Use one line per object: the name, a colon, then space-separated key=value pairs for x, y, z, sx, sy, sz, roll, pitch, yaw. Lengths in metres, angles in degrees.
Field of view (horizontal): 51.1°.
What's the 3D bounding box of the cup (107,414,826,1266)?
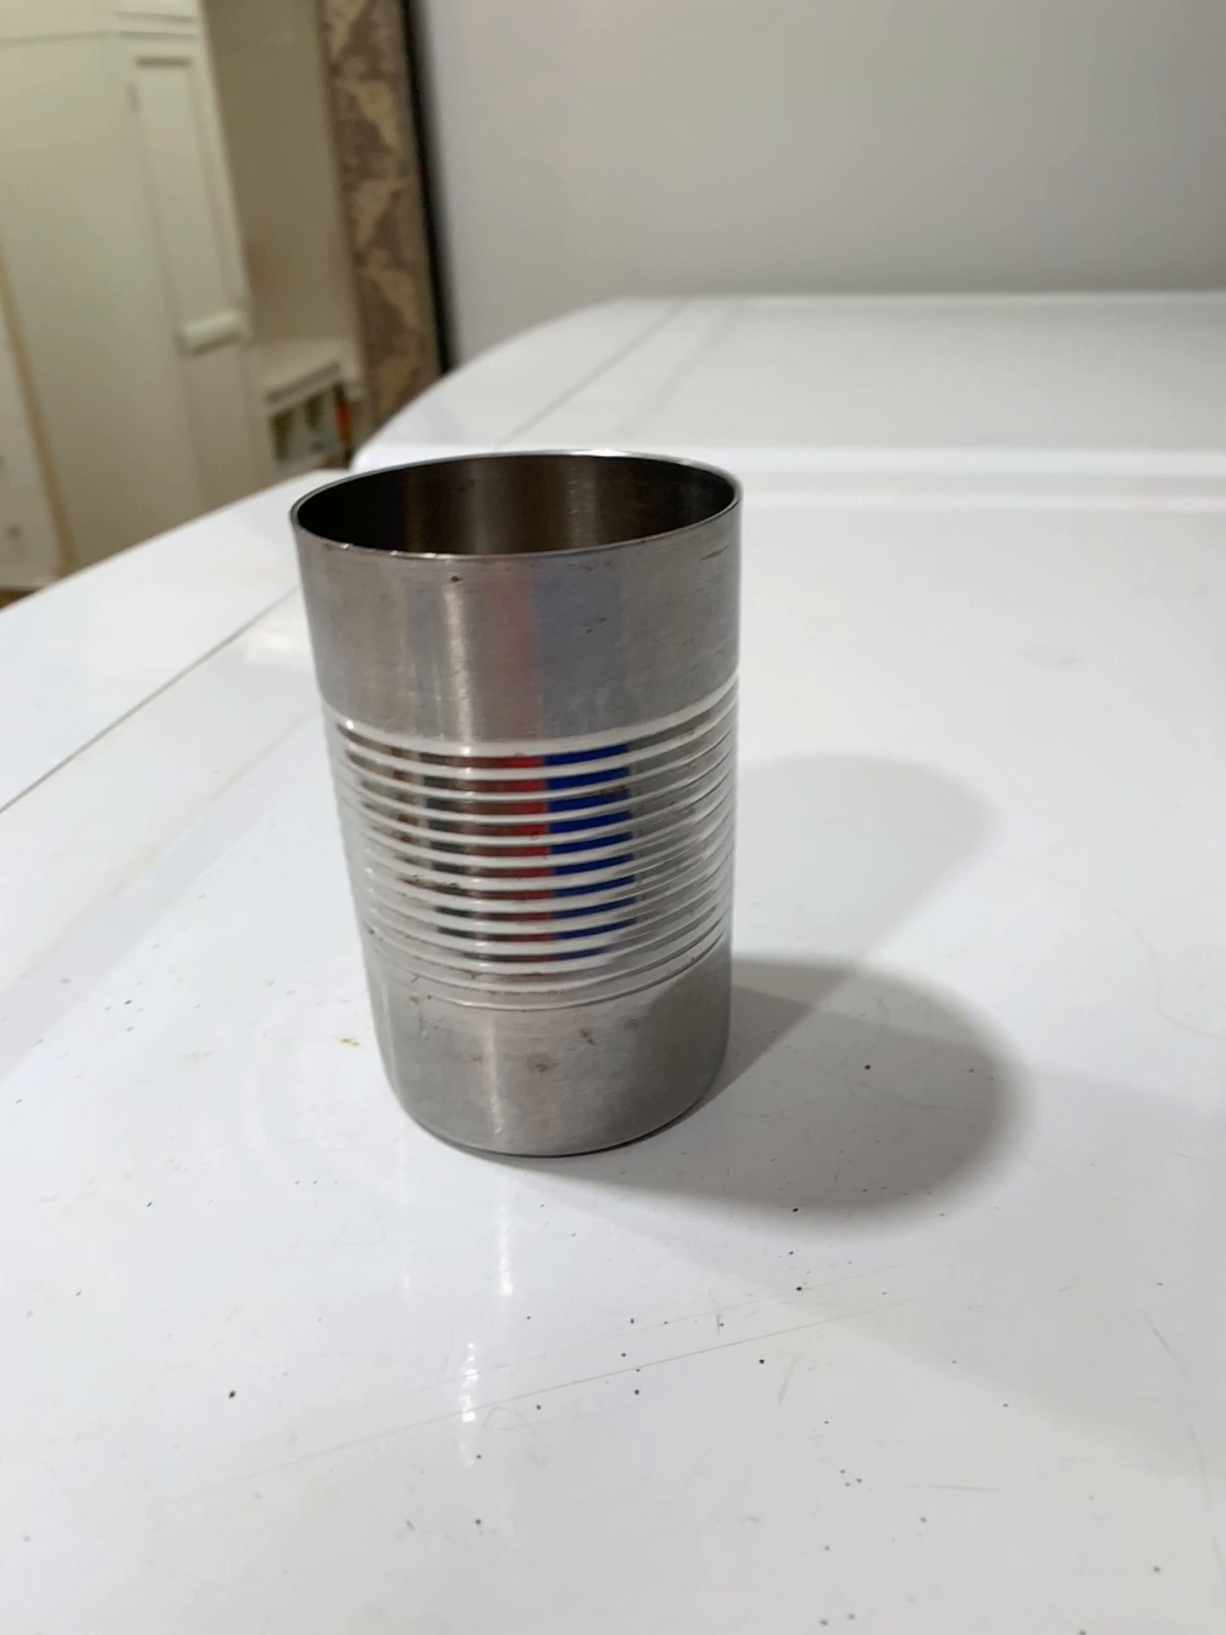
cup: x=-0.018 y=-0.004 z=0.198 sx=0.070 sy=0.095 sz=0.070 roll=-2 pitch=27 yaw=1
